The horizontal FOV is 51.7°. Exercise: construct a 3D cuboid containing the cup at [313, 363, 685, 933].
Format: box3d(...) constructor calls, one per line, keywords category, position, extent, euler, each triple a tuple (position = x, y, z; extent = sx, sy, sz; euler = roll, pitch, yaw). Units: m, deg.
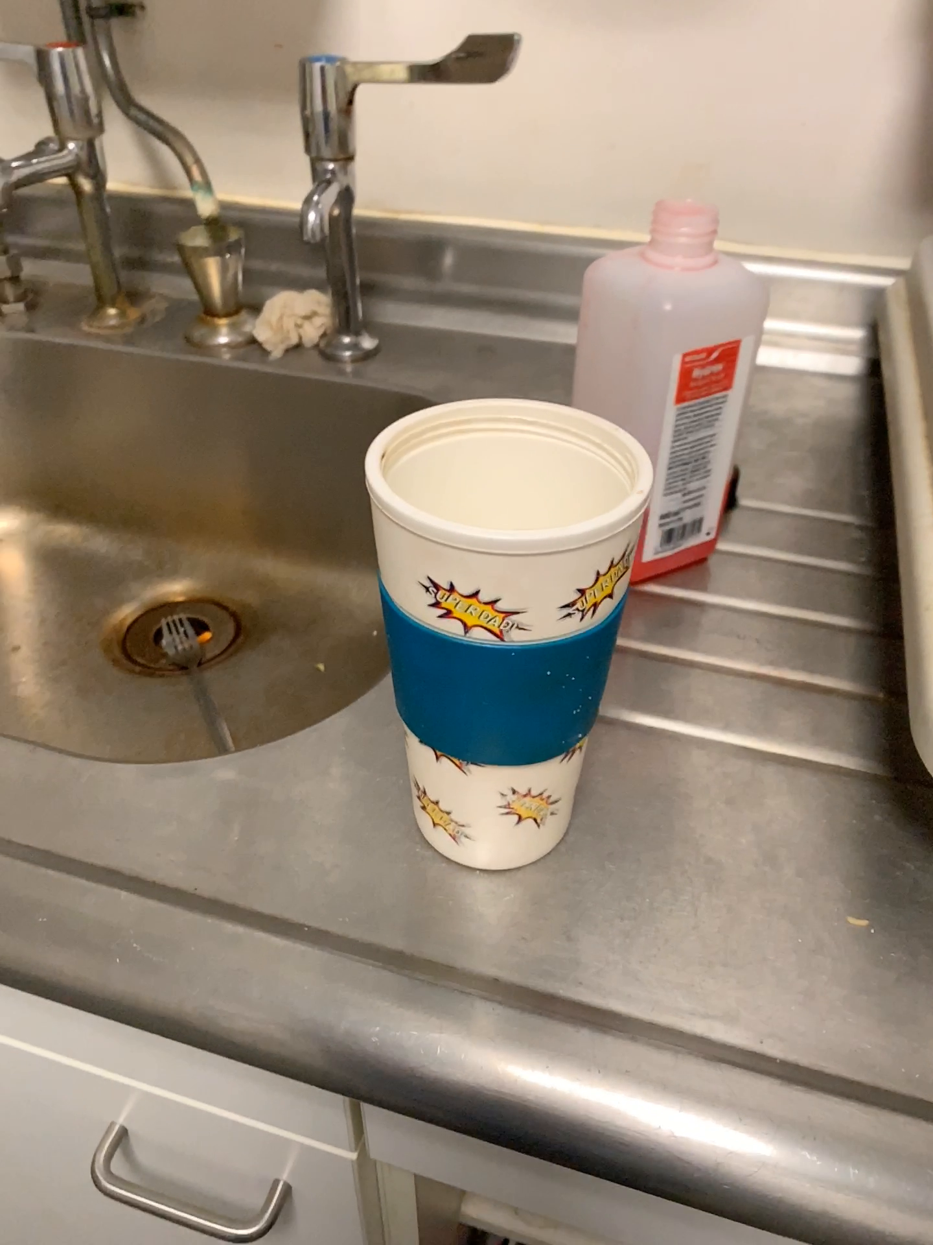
box3d(category="cup", position=(0.013, 0.010, 0.348), extent=(0.089, 0.167, 0.093), euler=(1, 37, -1))
